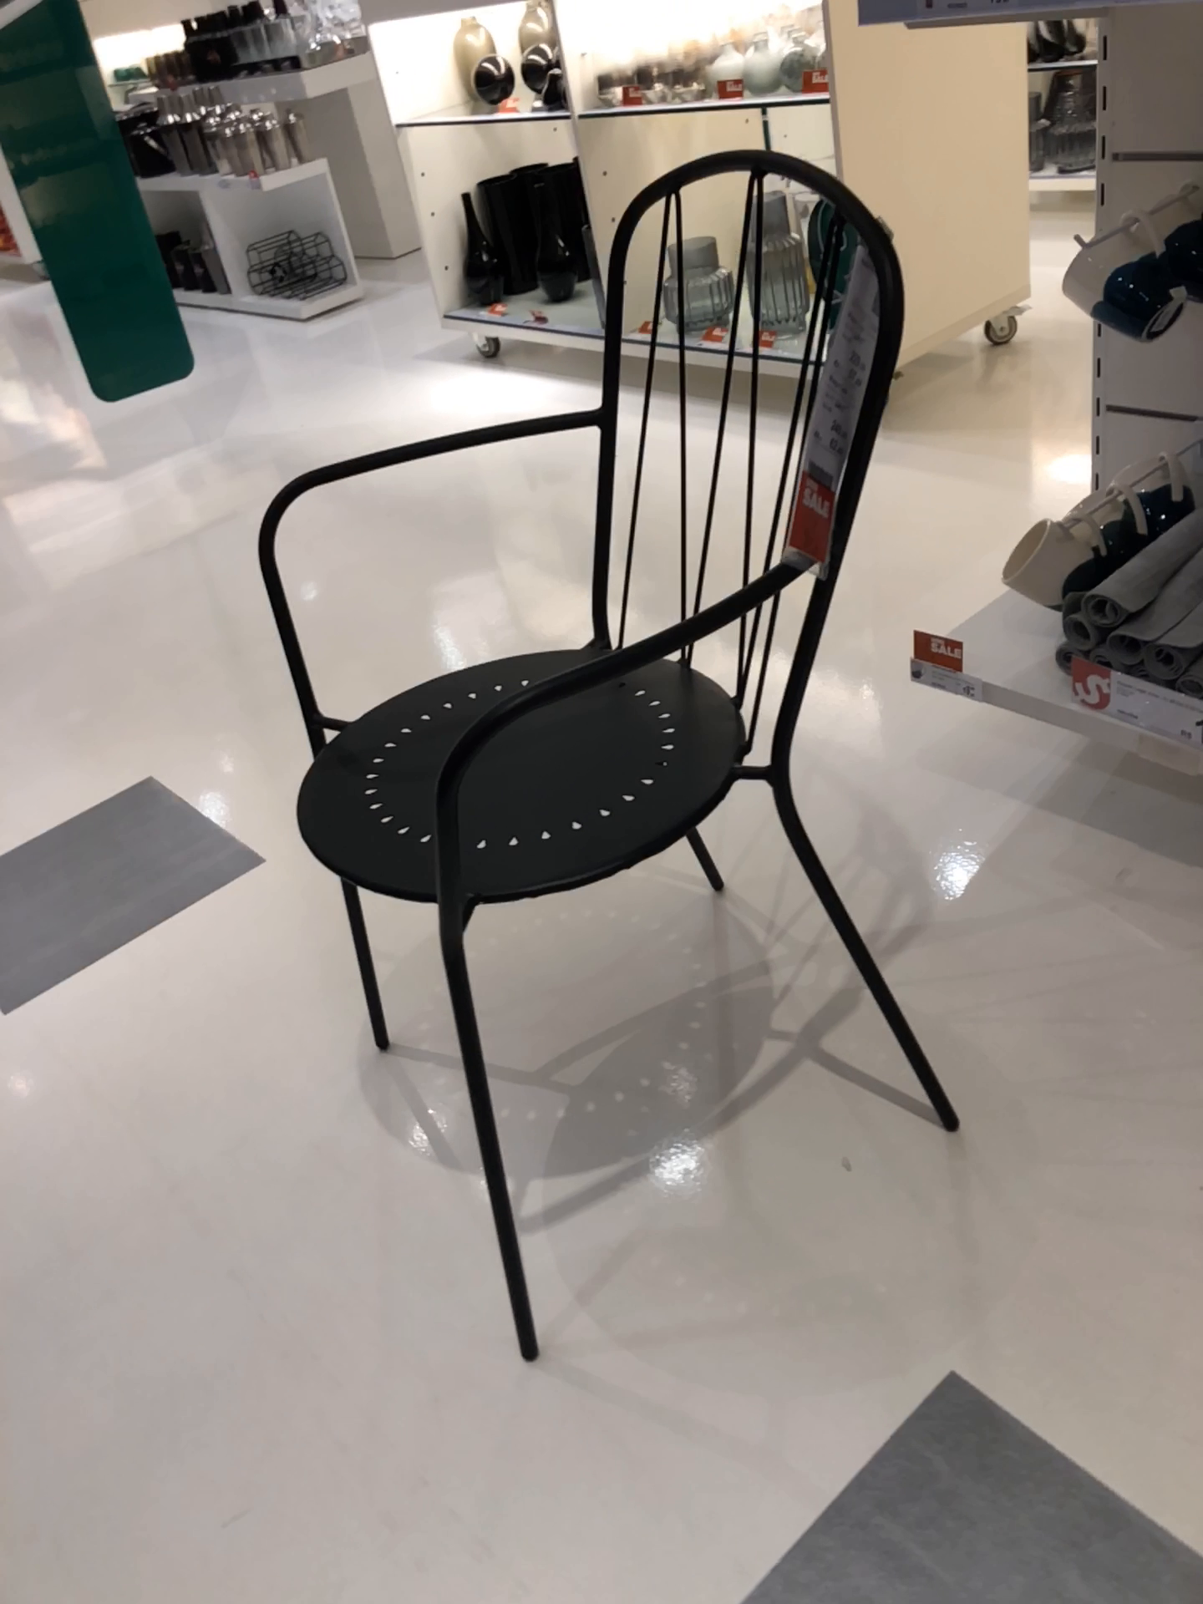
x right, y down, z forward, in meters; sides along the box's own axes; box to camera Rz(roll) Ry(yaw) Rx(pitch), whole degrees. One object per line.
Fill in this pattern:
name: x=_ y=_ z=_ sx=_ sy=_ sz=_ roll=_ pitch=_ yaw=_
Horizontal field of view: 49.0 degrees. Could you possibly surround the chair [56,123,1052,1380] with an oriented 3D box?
chair: x=-0.009 y=-0.069 z=1.157 sx=0.561 sy=0.814 sz=0.513 roll=-23 pitch=34 yaw=-14
